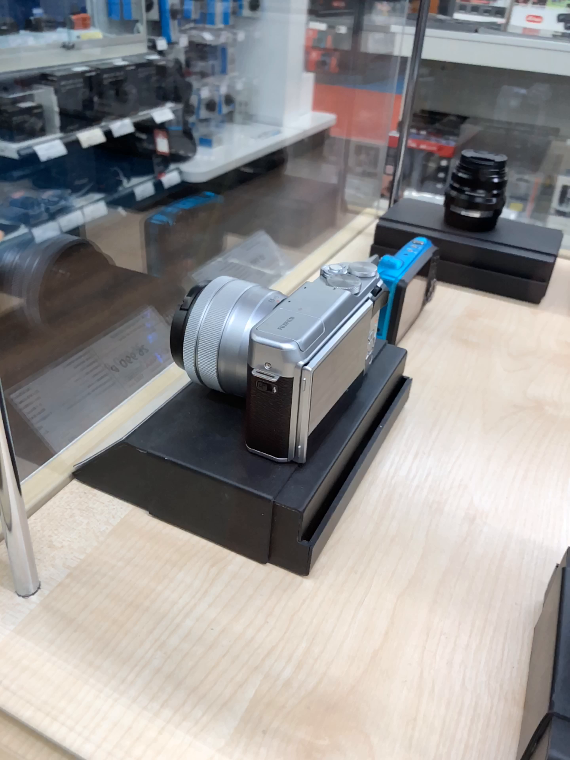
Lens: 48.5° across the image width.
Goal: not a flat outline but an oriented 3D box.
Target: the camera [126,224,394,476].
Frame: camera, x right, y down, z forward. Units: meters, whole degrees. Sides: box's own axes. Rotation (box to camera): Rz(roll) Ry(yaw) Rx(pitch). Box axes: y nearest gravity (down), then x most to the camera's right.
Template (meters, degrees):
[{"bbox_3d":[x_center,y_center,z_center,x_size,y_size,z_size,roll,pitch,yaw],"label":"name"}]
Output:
[{"bbox_3d":[-0.009,-0.025,0.343,0.093,0.070,0.120,18,35,19],"label":"camera"}]

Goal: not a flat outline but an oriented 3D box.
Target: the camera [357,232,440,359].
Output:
[{"bbox_3d":[0.092,-0.071,0.507,0.025,0.064,0.106,18,35,20],"label":"camera"}]
